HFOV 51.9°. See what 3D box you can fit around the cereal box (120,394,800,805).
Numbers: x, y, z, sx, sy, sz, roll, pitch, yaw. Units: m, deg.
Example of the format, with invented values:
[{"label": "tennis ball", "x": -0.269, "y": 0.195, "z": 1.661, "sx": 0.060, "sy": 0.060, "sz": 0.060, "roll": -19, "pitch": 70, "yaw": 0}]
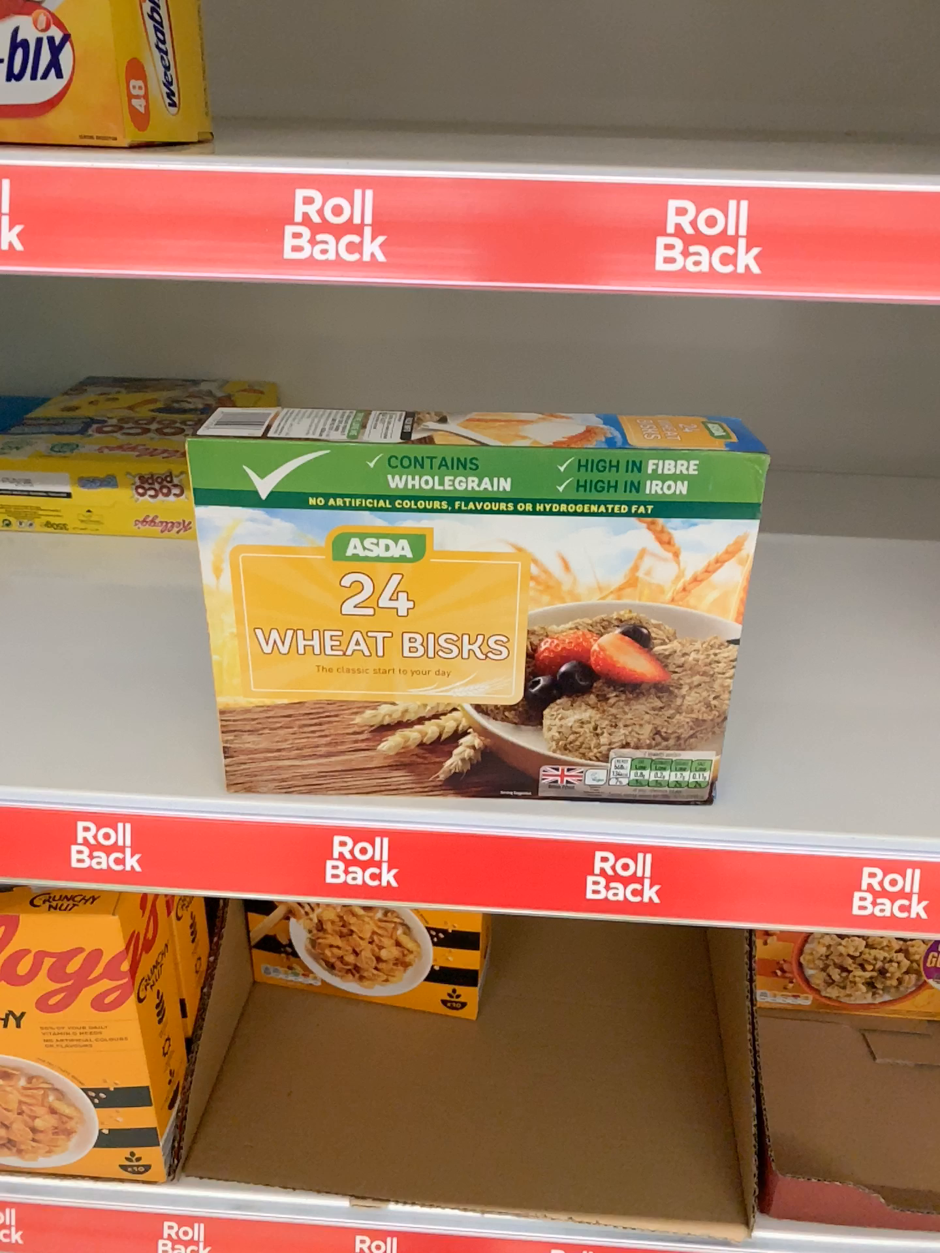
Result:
[{"label": "cereal box", "x": -0.006, "y": -0.009, "z": 0.452, "sx": 0.270, "sy": 0.178, "sz": 0.061, "roll": 1, "pitch": 28, "yaw": -1}]
